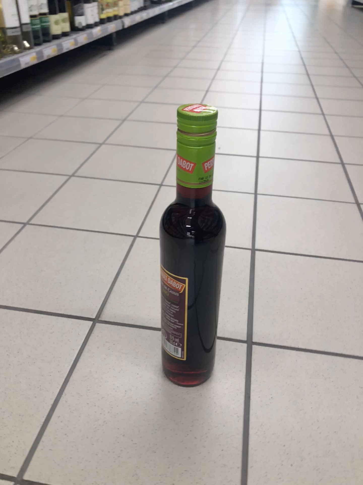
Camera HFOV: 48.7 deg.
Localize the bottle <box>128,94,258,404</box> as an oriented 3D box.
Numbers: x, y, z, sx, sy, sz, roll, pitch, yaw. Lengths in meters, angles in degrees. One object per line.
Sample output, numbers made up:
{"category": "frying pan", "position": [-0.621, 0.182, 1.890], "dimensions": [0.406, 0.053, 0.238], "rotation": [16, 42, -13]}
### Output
{"category": "bottle", "position": [0.006, 0.020, 0.382], "dimensions": [0.070, 0.288, 0.070], "rotation": [1, 33, -1]}
